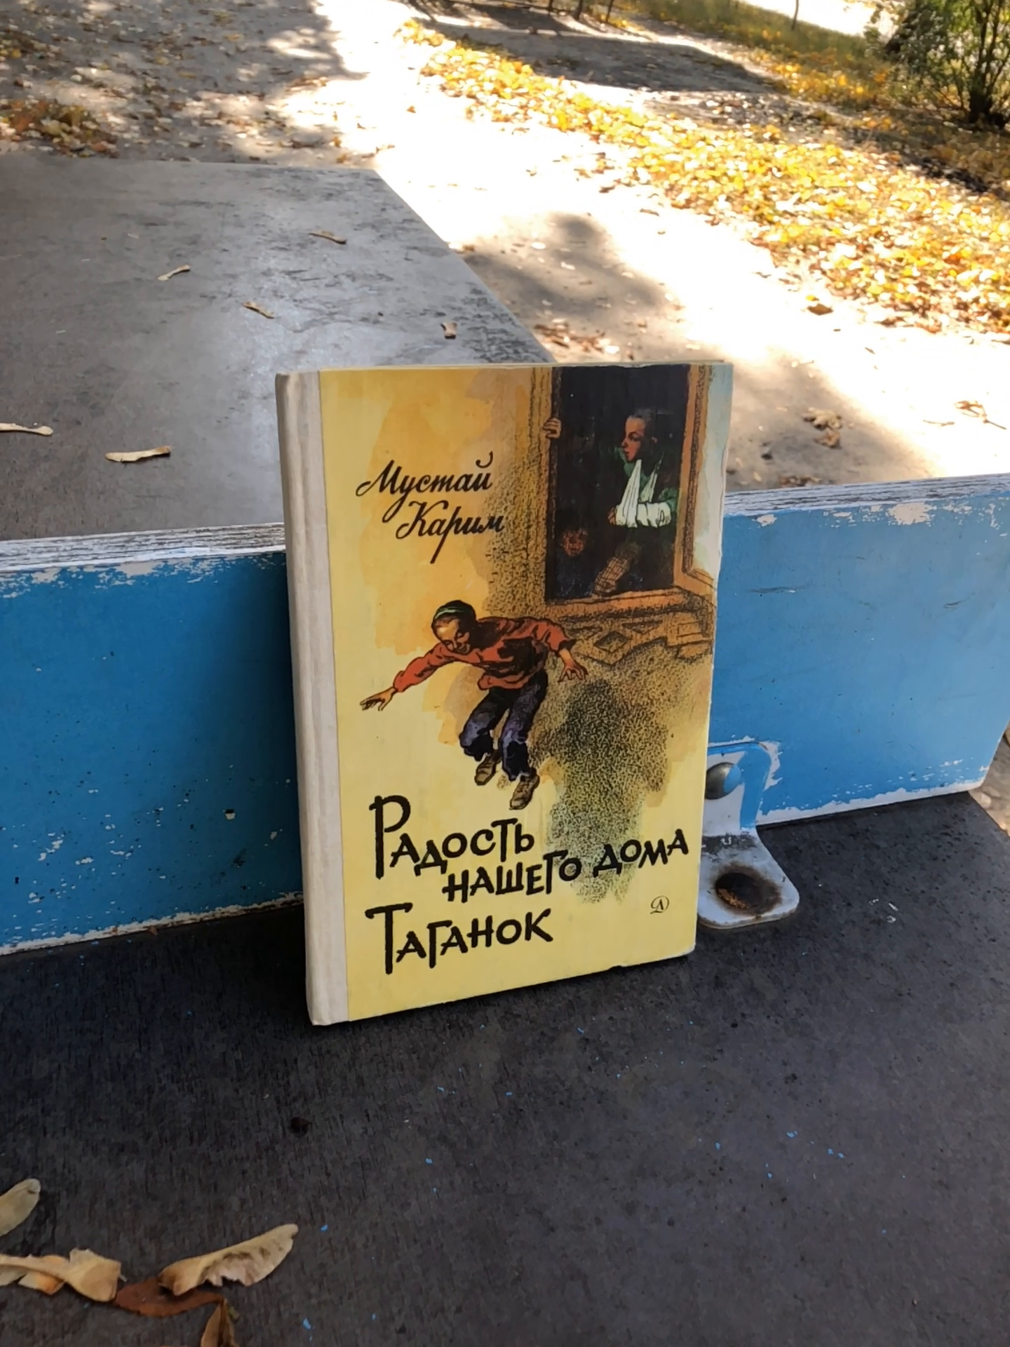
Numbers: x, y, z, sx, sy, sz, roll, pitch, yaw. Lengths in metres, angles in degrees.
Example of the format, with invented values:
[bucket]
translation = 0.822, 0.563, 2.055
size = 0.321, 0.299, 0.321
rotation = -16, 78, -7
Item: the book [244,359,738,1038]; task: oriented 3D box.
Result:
[book]
translation = 0.000, 0.008, 0.379
size = 0.155, 0.218, 0.020
rotation = -6, 18, -17
